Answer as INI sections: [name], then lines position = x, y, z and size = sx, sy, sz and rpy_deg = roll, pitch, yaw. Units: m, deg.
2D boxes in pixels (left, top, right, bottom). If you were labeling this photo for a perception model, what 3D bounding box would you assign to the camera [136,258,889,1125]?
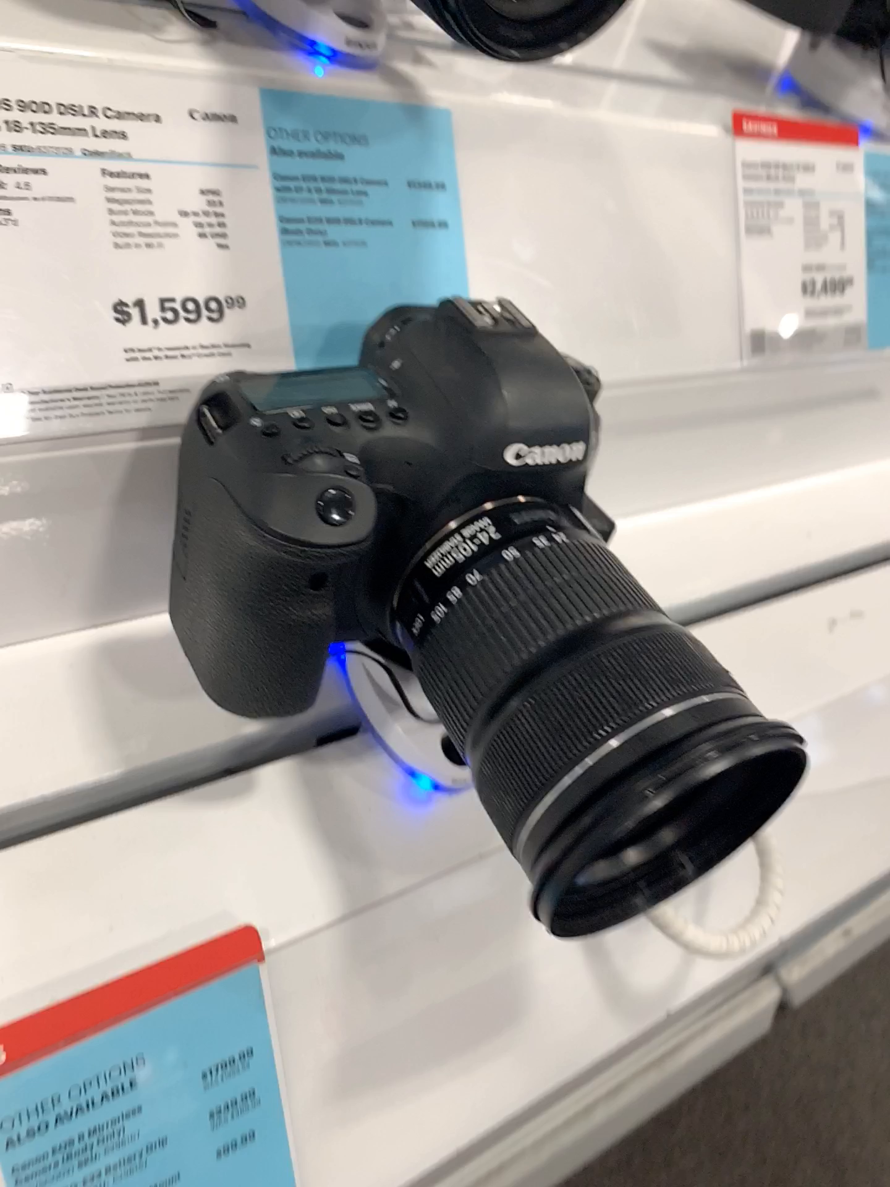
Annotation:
[camera]
position = 0.012, 0.010, 0.264
size = 0.137, 0.123, 0.180
rpy_deg = -13, 54, -32
